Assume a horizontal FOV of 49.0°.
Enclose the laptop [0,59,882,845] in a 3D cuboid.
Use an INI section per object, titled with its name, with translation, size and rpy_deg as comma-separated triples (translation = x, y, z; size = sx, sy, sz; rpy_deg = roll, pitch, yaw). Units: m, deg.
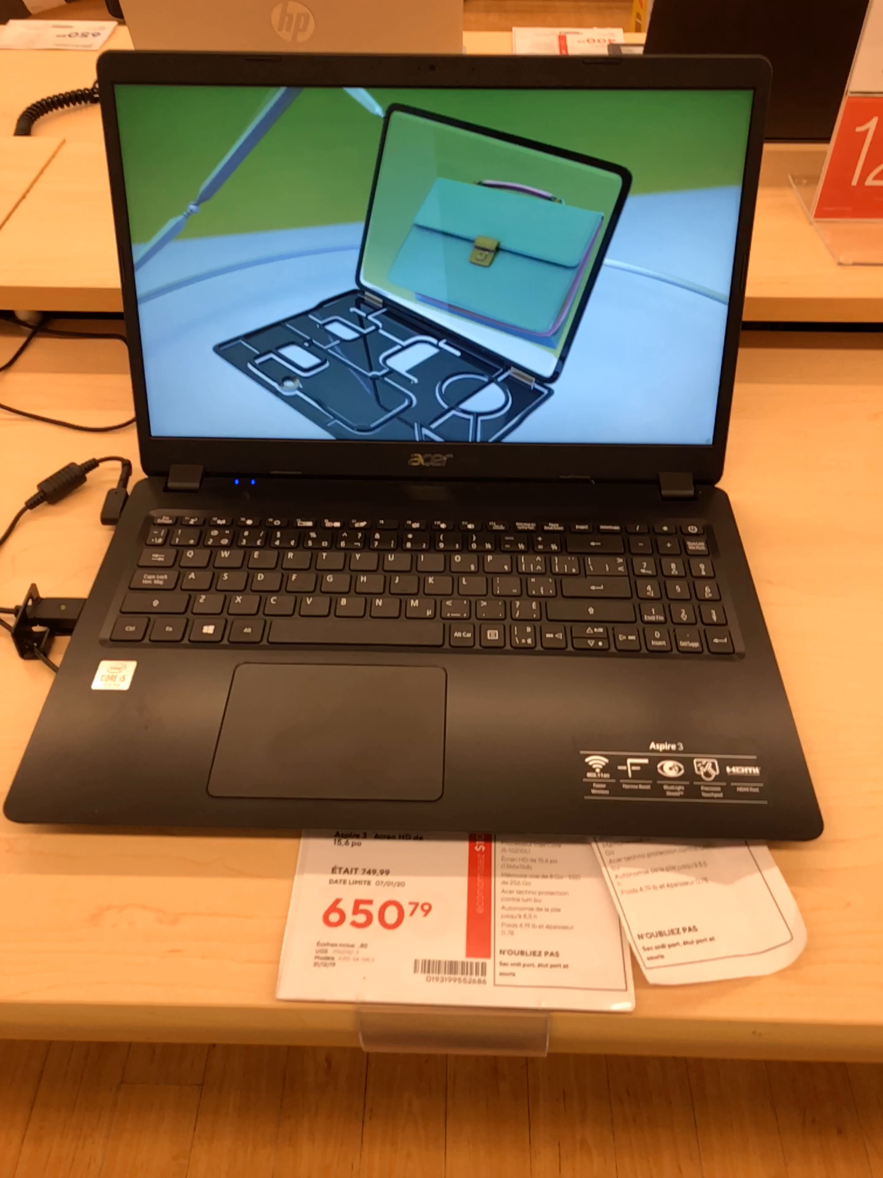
[laptop]
translation = -0.009, -0.085, 0.467
size = 0.354, 0.210, 0.329
rpy_deg = 2, 45, 1
